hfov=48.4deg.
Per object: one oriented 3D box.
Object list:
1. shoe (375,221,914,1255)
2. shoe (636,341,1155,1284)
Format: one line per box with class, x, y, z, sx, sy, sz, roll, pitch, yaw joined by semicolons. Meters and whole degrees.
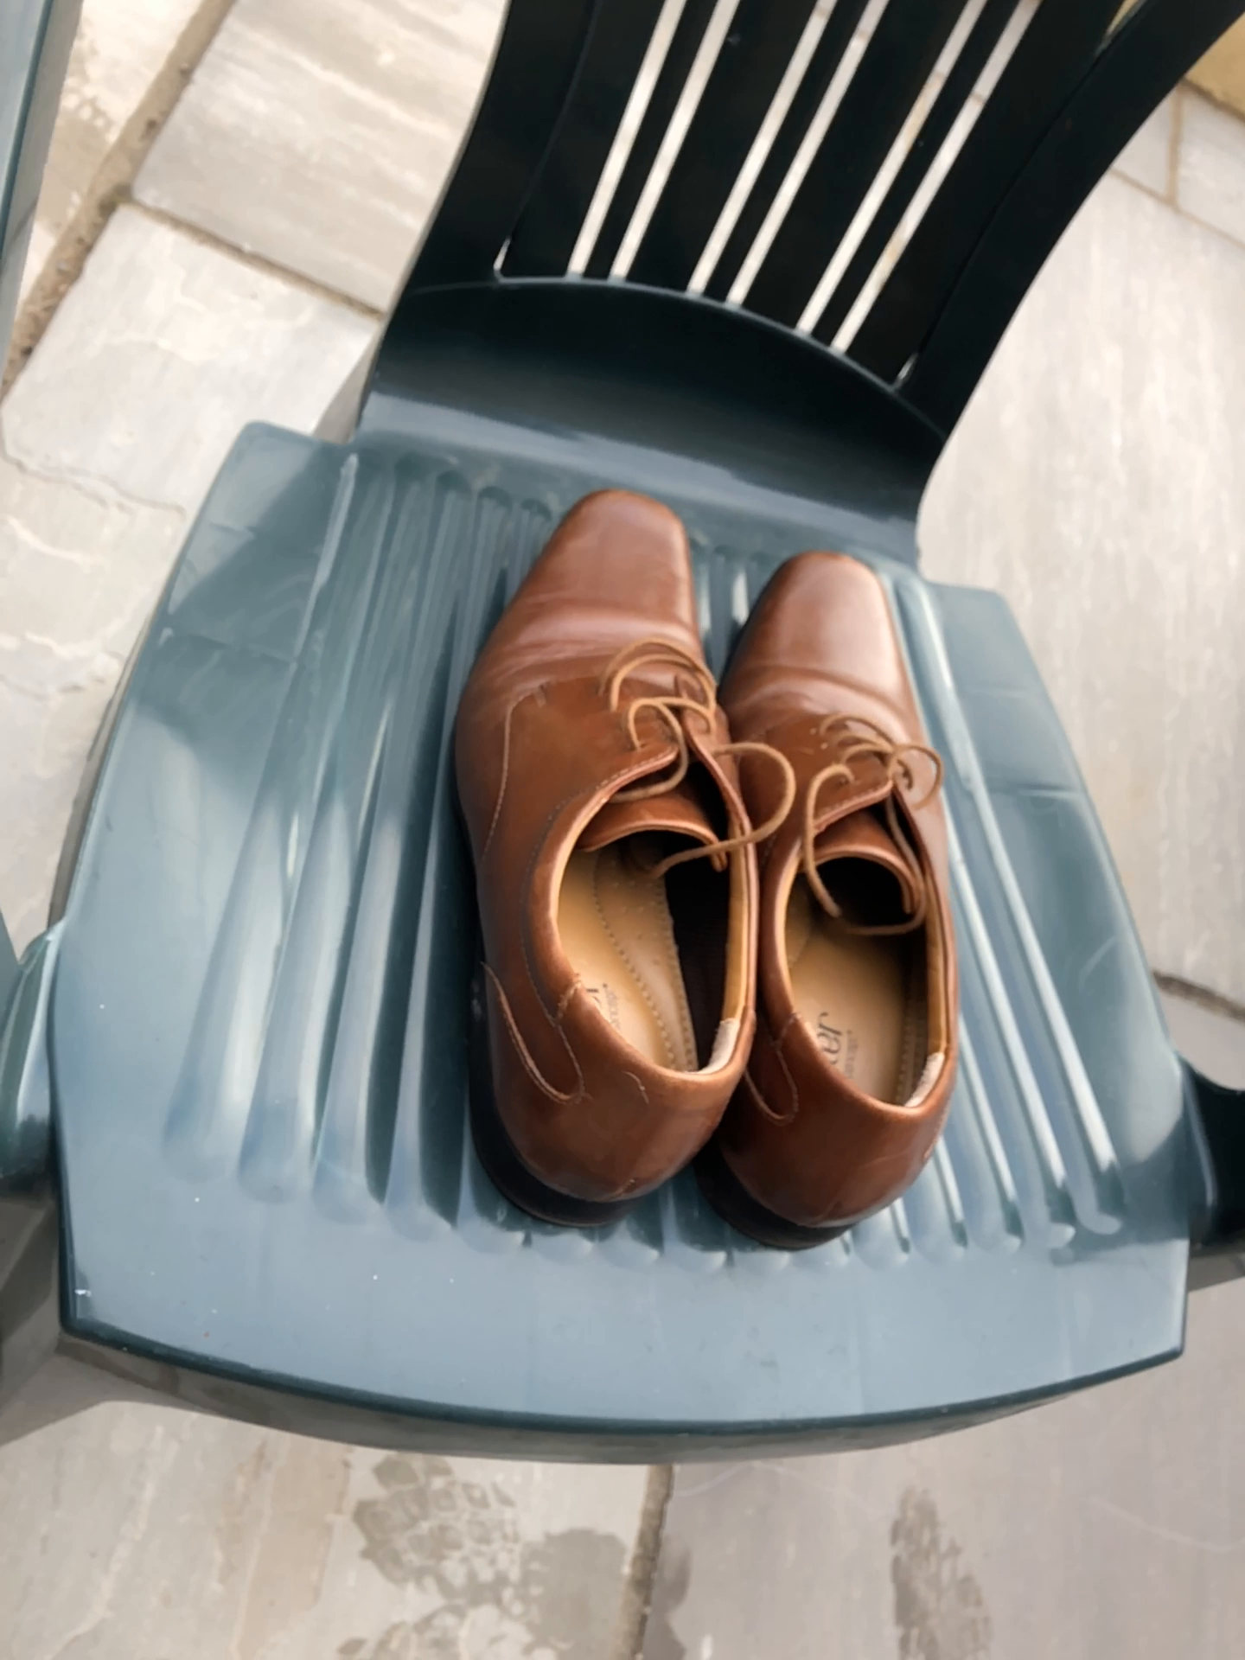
shoe;0.013;-0.029;0.438;0.110;0.109;0.291;15;64;-16
shoe;0.096;-0.006;0.469;0.110;0.109;0.281;17;63;-15
